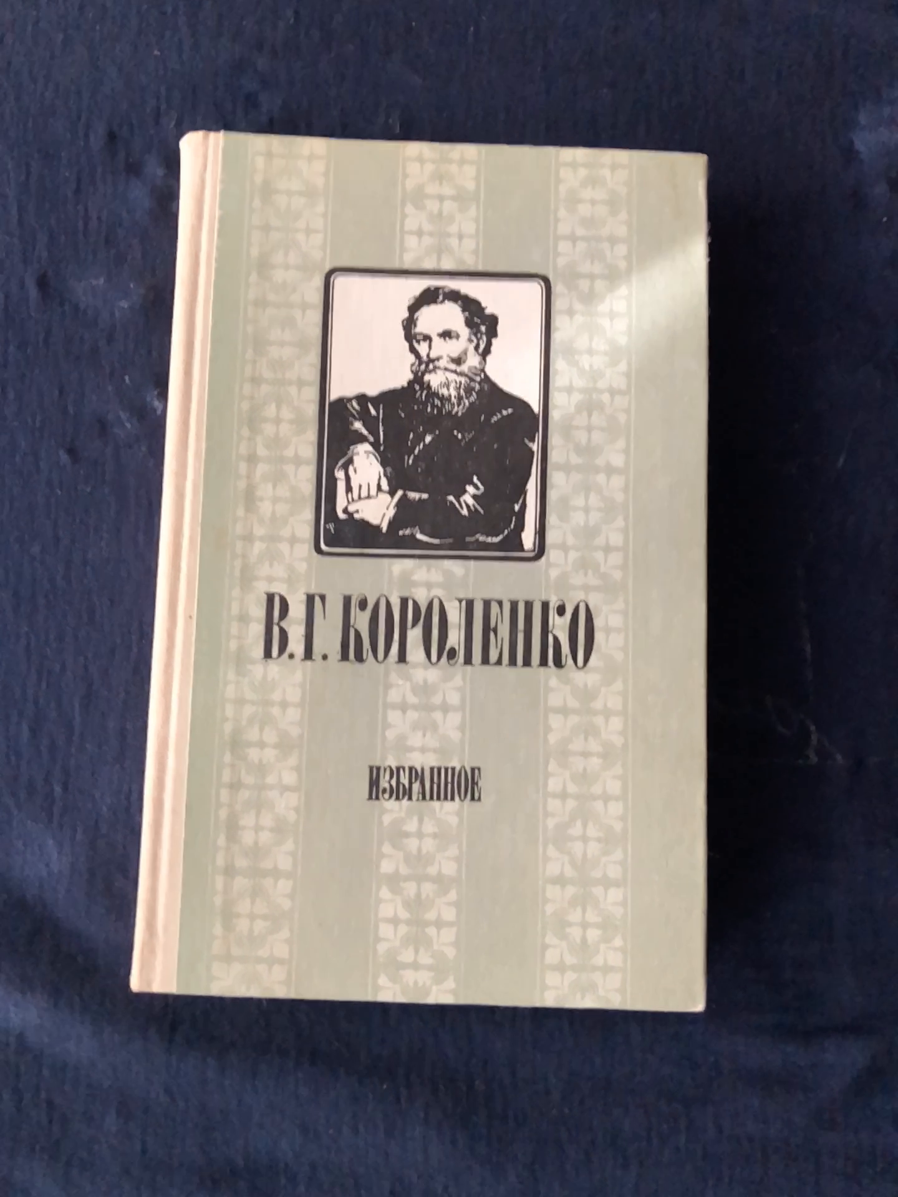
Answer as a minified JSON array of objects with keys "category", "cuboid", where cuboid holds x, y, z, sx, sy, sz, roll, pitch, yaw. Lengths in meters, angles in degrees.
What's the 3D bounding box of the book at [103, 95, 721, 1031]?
[{"category":"book","cuboid":[-0.004,-0.011,0.241,0.132,0.030,0.209,2,83,-1]}]
